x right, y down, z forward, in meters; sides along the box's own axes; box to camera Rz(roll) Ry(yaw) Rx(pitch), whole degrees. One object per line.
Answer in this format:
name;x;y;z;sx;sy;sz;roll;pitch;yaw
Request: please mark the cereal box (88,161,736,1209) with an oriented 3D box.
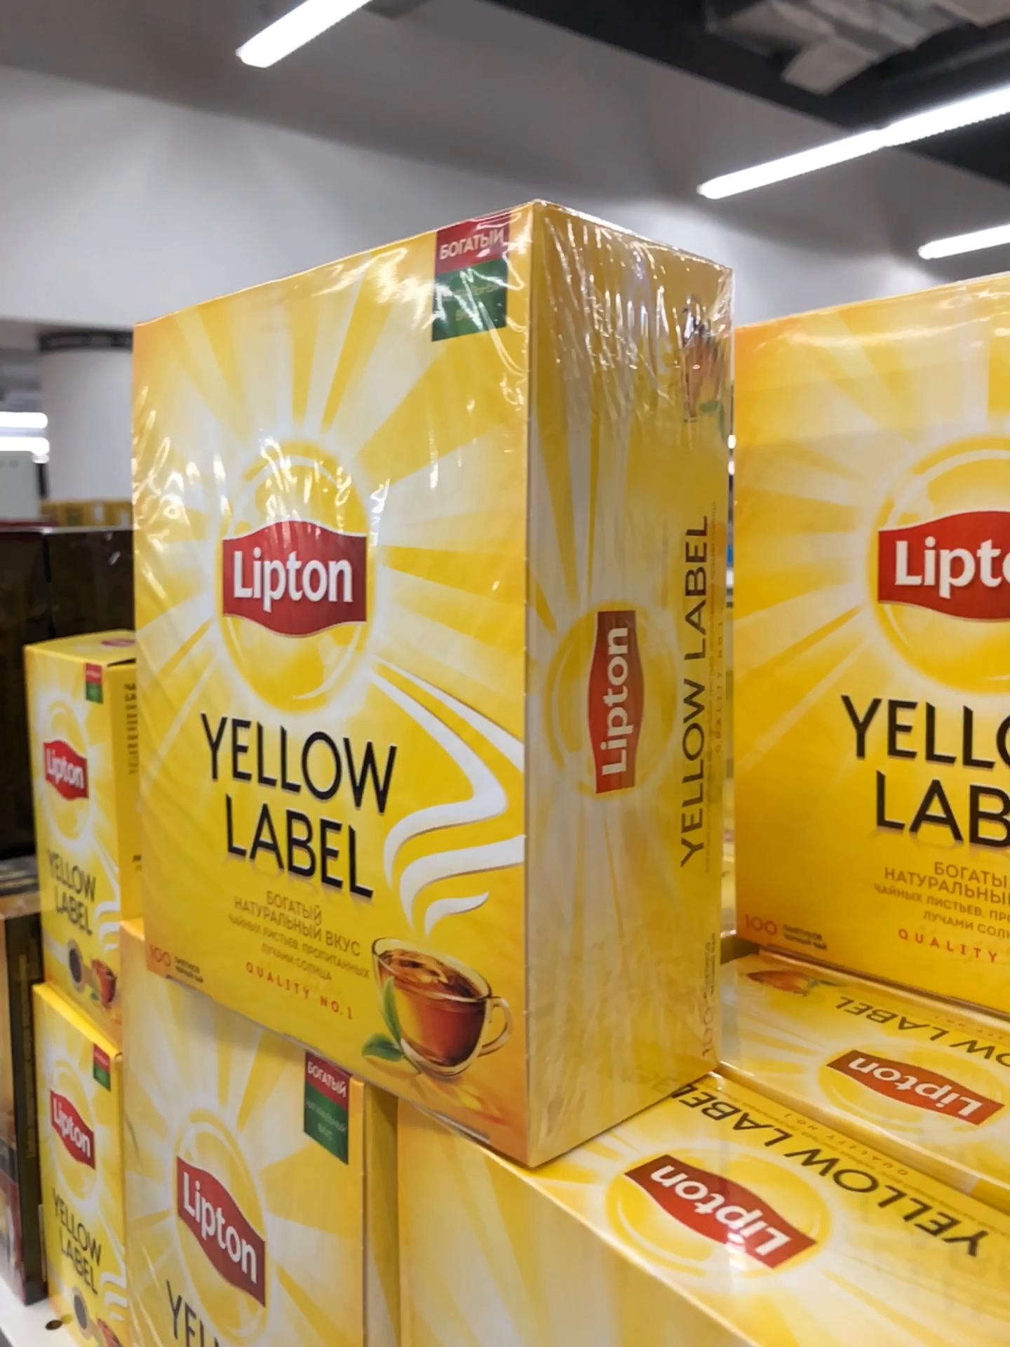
cereal box;-0.028;-0.002;0.256;0.070;0.170;0.140;-4;6;-44
